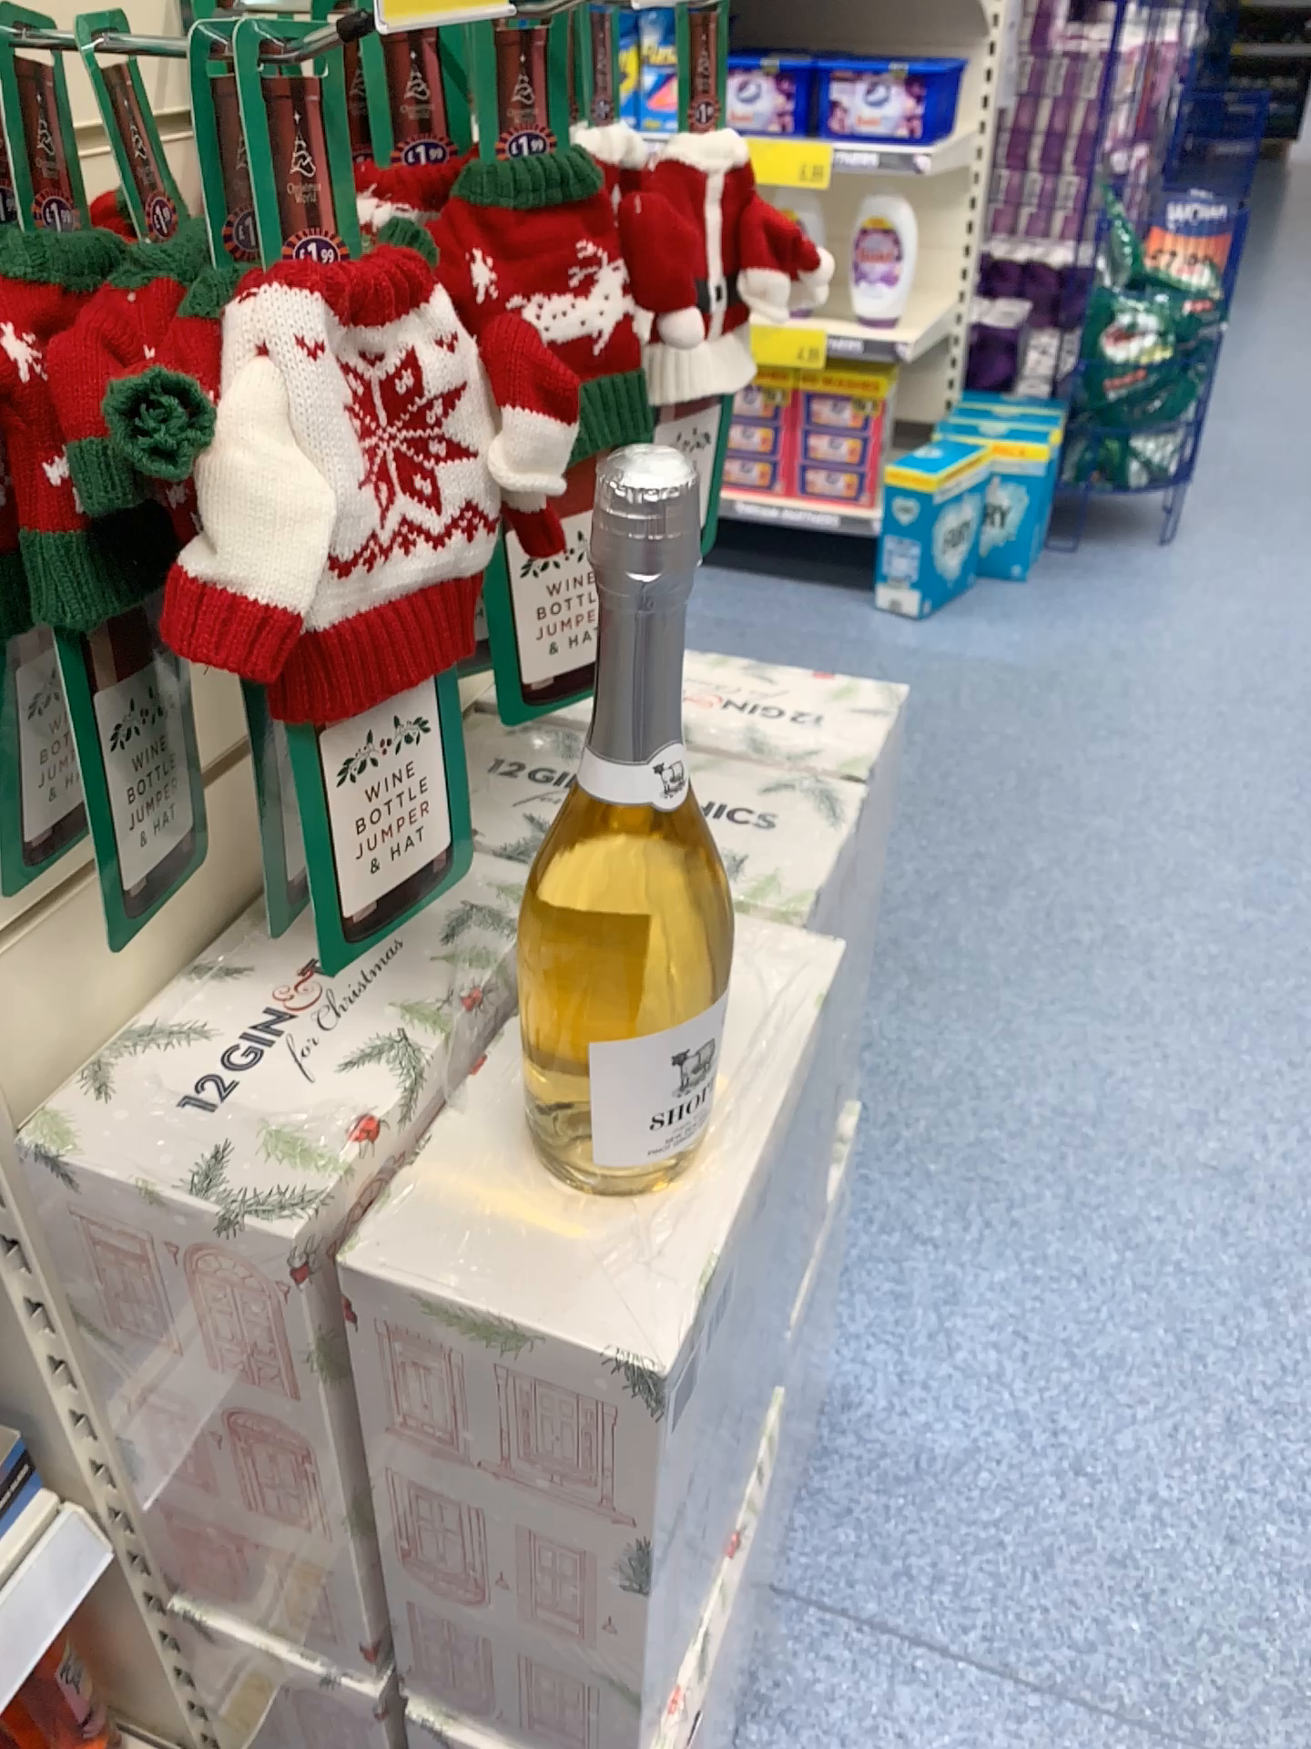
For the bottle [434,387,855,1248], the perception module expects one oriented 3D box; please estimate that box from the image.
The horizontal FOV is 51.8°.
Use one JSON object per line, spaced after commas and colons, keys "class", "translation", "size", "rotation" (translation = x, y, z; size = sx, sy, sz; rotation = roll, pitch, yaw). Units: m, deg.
{"class": "bottle", "translation": [-0.003, -0.013, 0.511], "size": [0.095, 0.298, 0.095], "rotation": [0, 34, 0]}
